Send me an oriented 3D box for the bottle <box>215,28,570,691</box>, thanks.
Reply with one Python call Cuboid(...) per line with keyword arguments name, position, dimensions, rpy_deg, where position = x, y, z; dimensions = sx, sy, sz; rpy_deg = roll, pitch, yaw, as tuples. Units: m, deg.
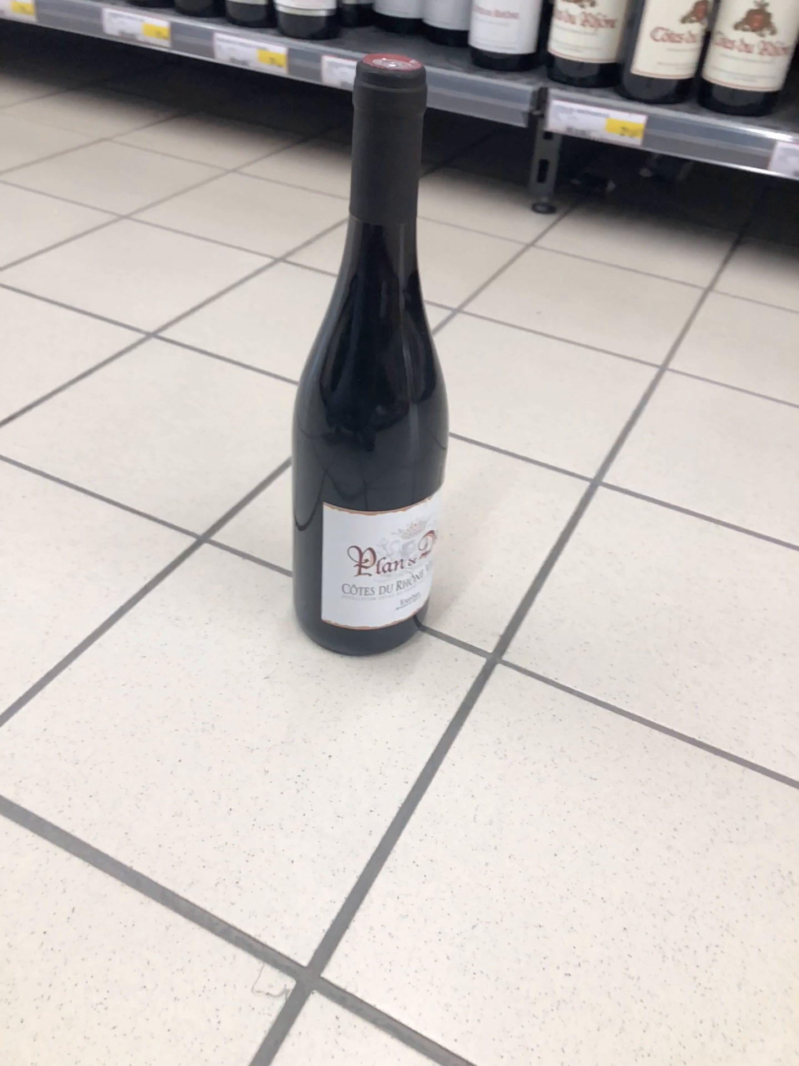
Cuboid(name="bottle", position=(-0.014, -0.072, 0.432), dimensions=(0.100, 0.288, 0.100), rpy_deg=(3, 38, -2))
